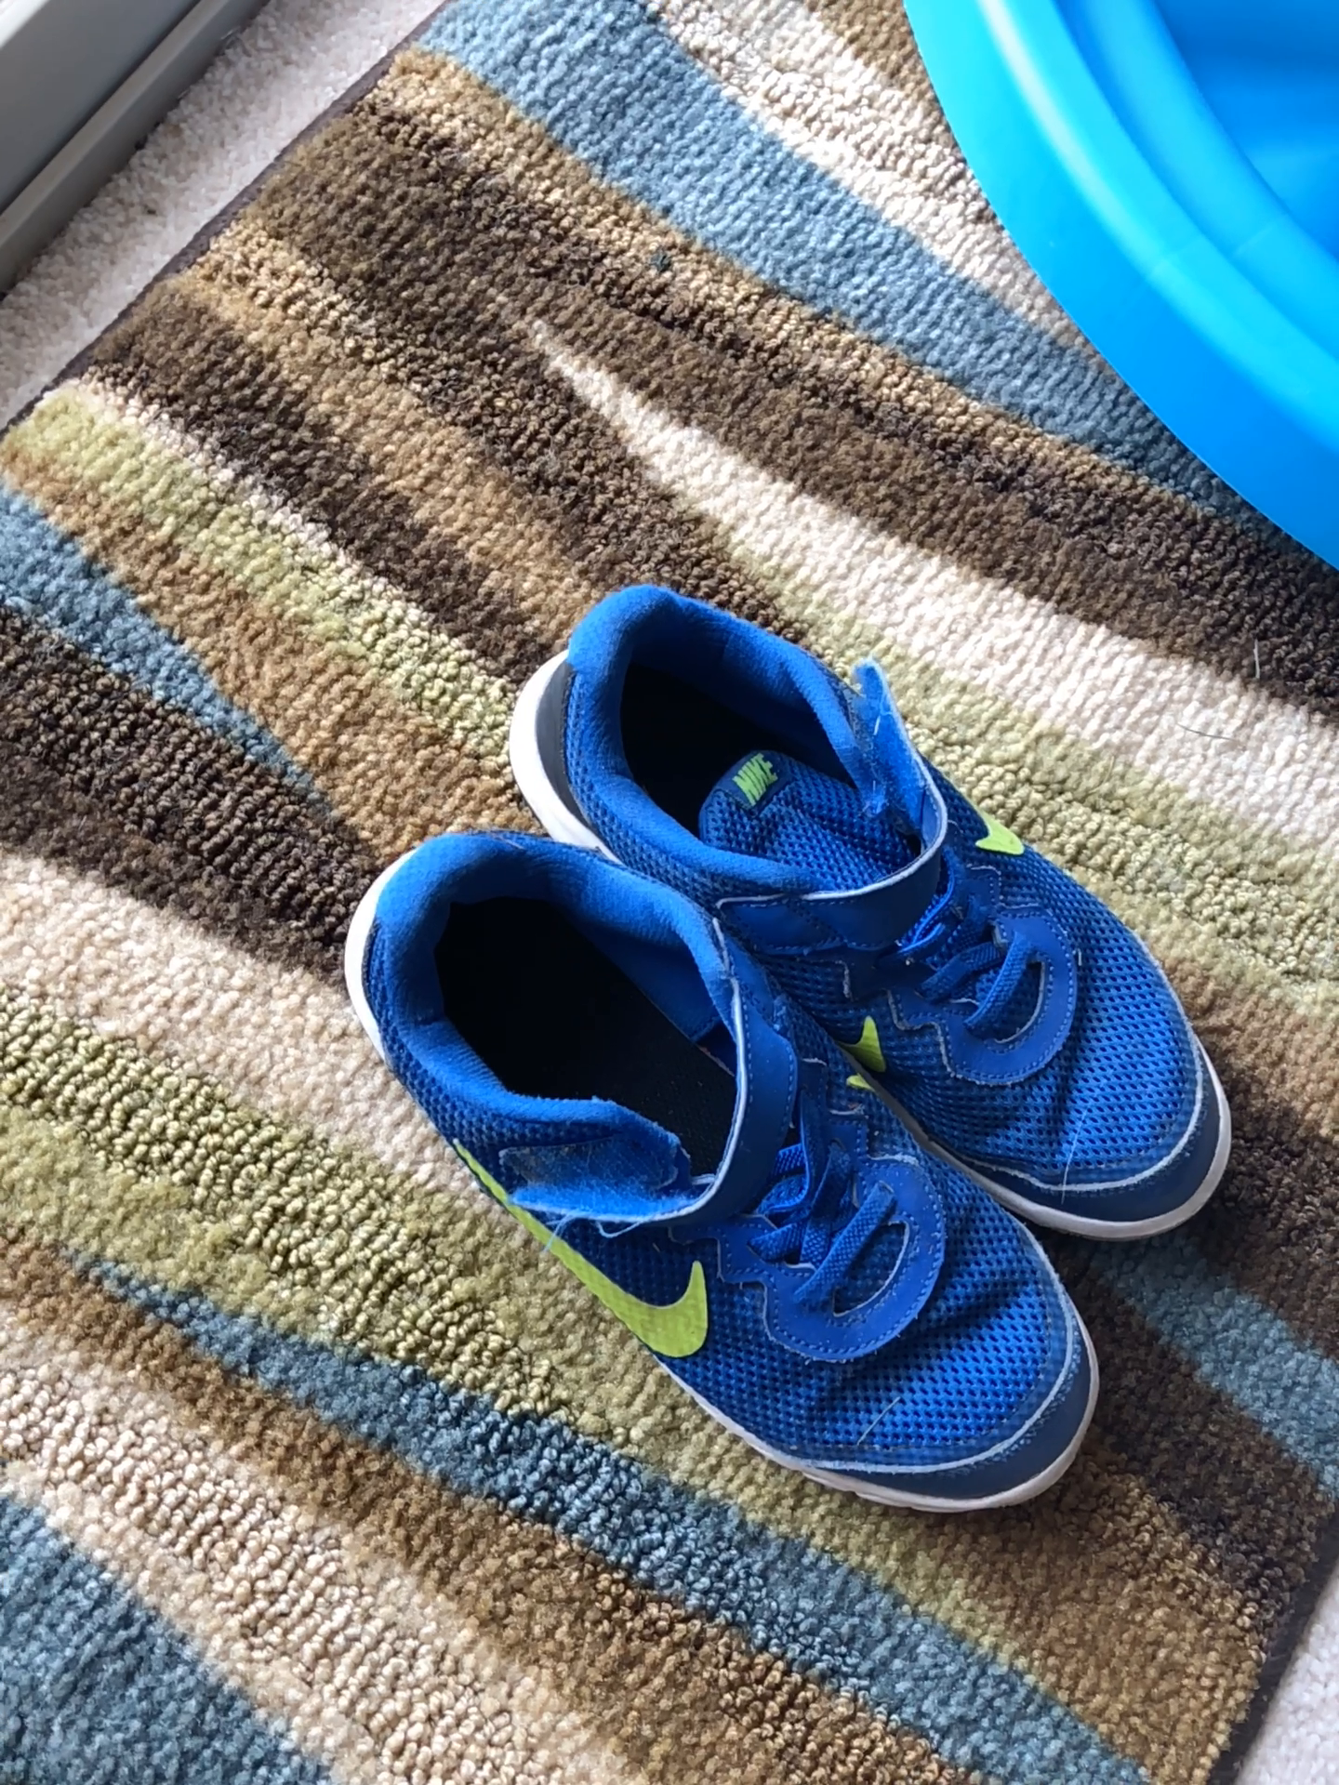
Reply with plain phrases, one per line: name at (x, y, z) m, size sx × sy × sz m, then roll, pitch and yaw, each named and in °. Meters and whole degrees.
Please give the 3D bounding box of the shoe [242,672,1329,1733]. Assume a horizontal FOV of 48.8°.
shoe at (0.023, 0.070, 0.361) m, size 0.233 × 0.075 × 0.102 m, roll 41°, pitch 73°, yaw 3°

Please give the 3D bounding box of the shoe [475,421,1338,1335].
shoe at (0.073, 0.000, 0.387) m, size 0.230 × 0.075 × 0.104 m, roll 38°, pitch 73°, yaw 2°
